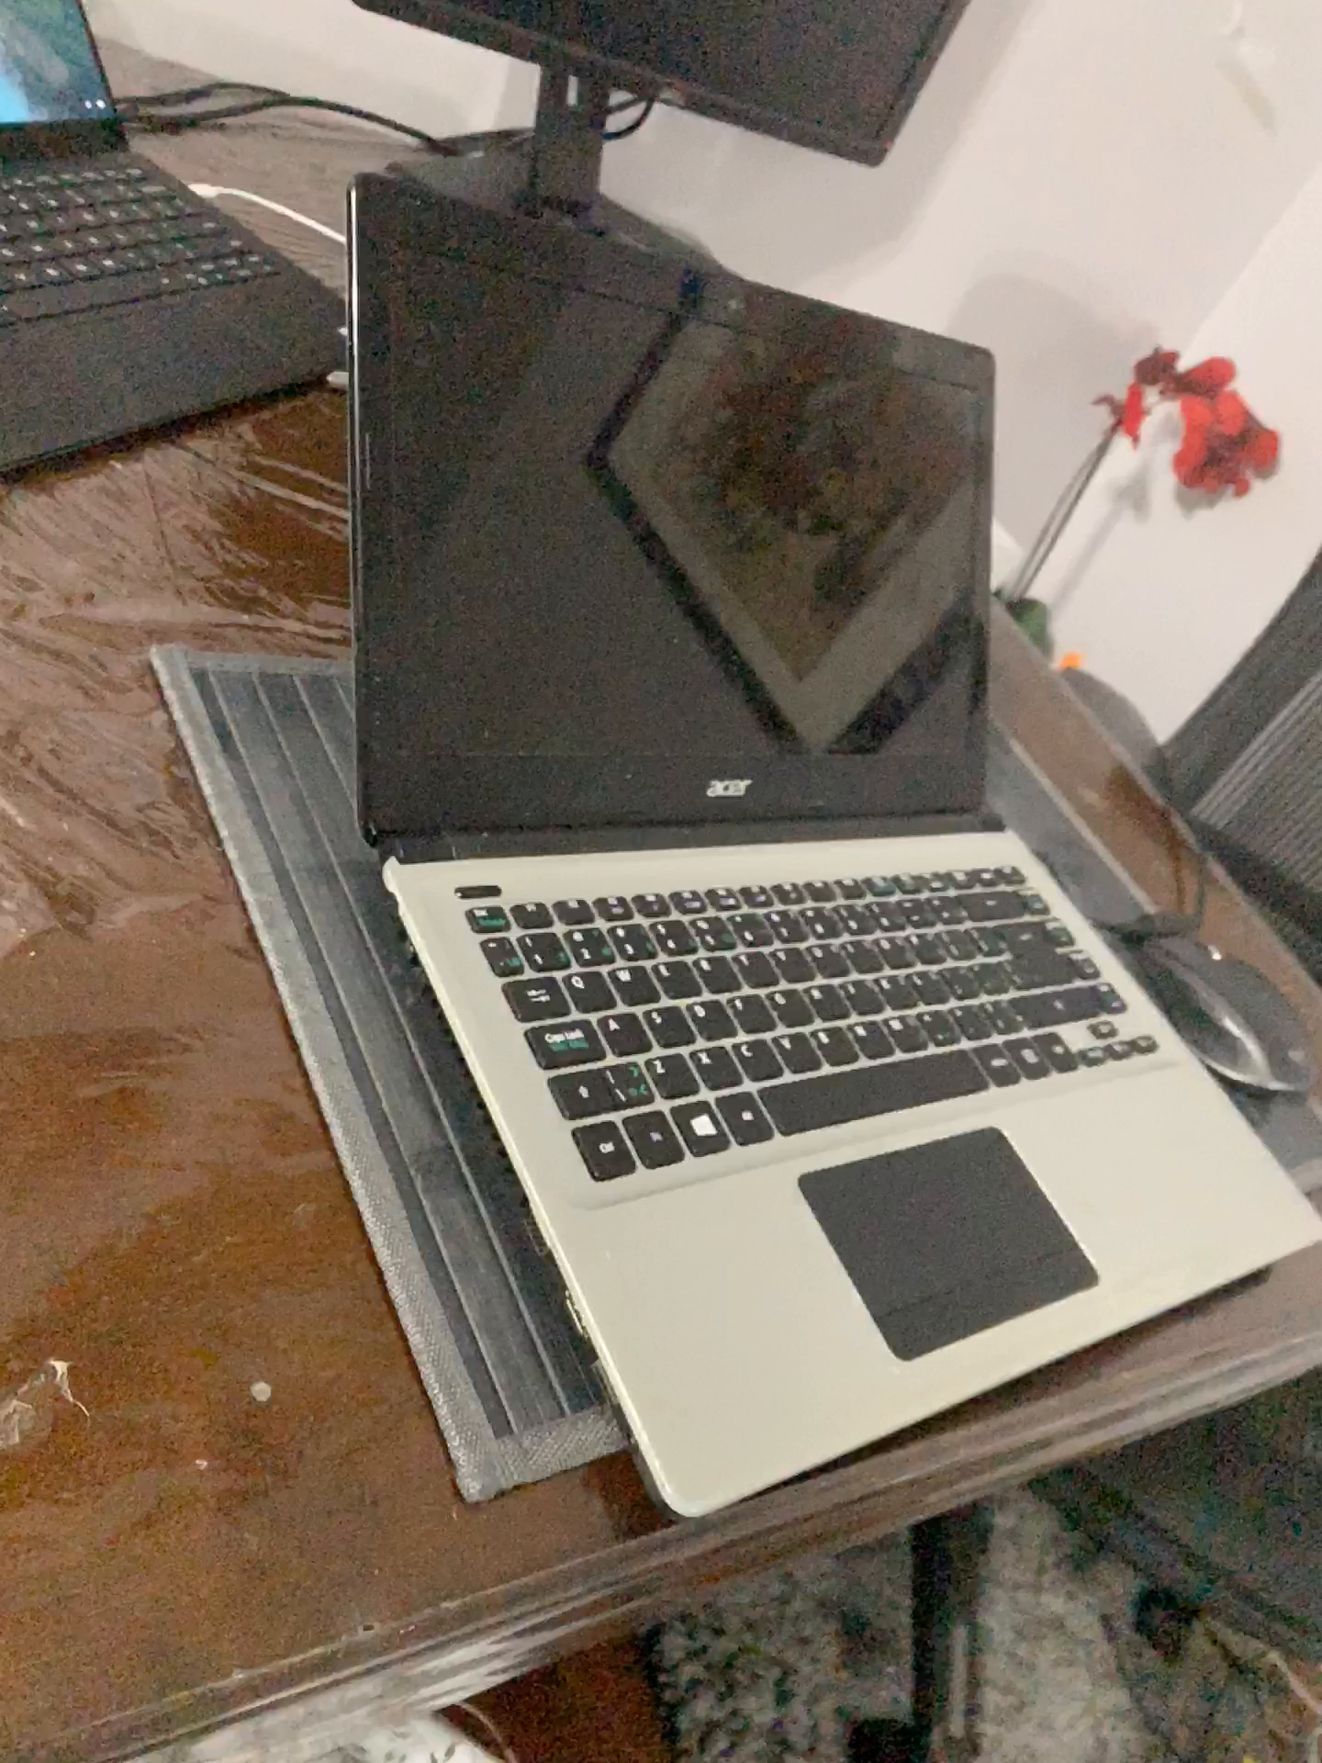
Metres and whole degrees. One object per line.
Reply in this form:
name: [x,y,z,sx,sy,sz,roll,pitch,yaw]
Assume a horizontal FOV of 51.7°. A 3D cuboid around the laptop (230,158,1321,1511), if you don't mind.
laptop: [0.080,-0.047,0.491,0.331,0.146,0.386,-4,50,-39]
